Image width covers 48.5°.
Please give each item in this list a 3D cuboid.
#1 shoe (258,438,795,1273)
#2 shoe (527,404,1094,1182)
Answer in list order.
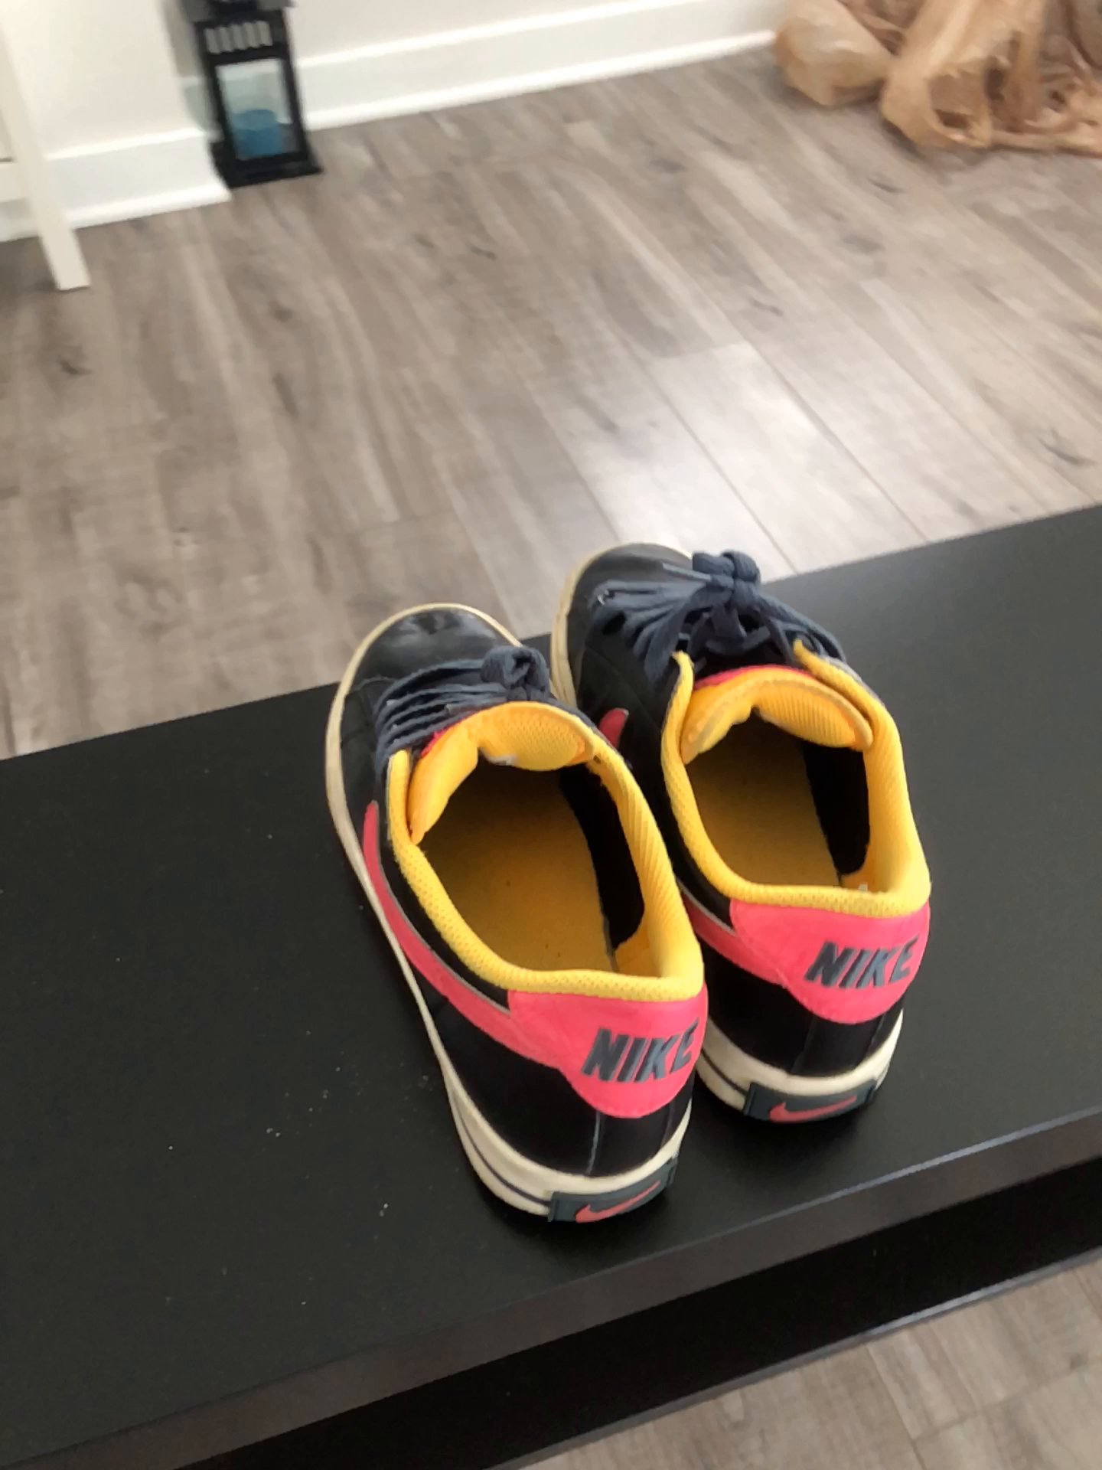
[{"bbox_3d":[-0.024,0.022,0.395,0.090,0.100,0.245,-12,49,-13],"label":"shoe"},{"bbox_3d":[0.062,0.004,0.413,0.095,0.100,0.245,-7,49,-9],"label":"shoe"}]
